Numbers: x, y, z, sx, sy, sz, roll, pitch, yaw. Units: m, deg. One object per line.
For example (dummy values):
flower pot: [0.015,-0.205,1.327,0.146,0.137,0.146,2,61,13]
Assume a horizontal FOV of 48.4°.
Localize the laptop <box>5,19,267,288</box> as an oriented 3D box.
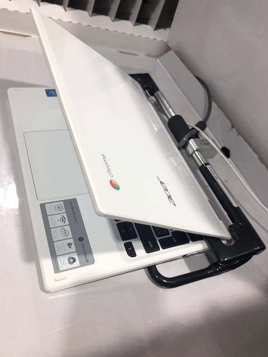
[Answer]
laptop: [-0.020,-0.056,0.340,0.201,0.091,0.285,-6,52,-27]
